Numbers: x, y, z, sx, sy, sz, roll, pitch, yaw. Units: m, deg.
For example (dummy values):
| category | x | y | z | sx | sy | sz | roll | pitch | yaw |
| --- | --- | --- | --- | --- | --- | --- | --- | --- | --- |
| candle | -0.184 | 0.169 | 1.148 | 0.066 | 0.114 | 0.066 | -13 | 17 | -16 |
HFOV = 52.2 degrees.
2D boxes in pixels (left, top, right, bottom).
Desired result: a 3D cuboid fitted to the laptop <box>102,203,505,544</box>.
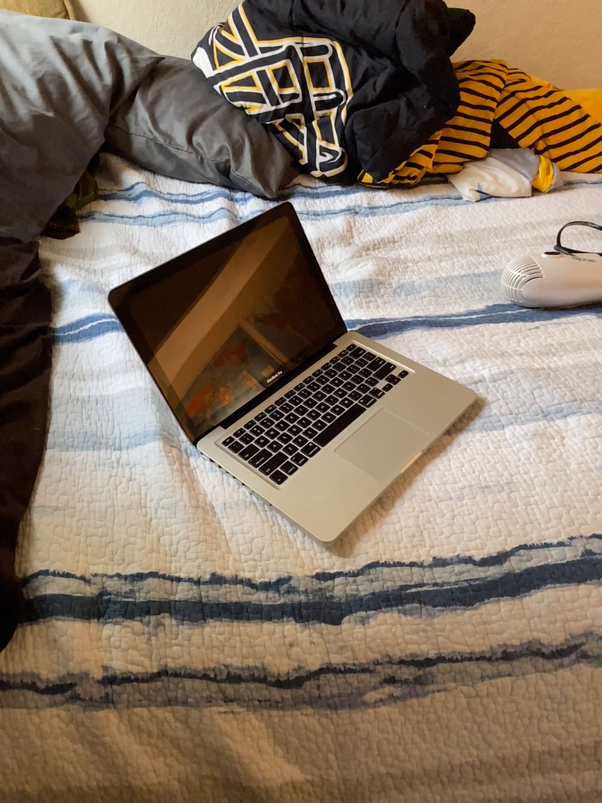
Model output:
| category | x | y | z | sx | sy | sz | roll | pitch | yaw |
| --- | --- | --- | --- | --- | --- | --- | --- | --- | --- |
| laptop | 0.006 | -0.066 | 0.778 | 0.346 | 0.165 | 0.321 | 32 | 52 | 28 |
